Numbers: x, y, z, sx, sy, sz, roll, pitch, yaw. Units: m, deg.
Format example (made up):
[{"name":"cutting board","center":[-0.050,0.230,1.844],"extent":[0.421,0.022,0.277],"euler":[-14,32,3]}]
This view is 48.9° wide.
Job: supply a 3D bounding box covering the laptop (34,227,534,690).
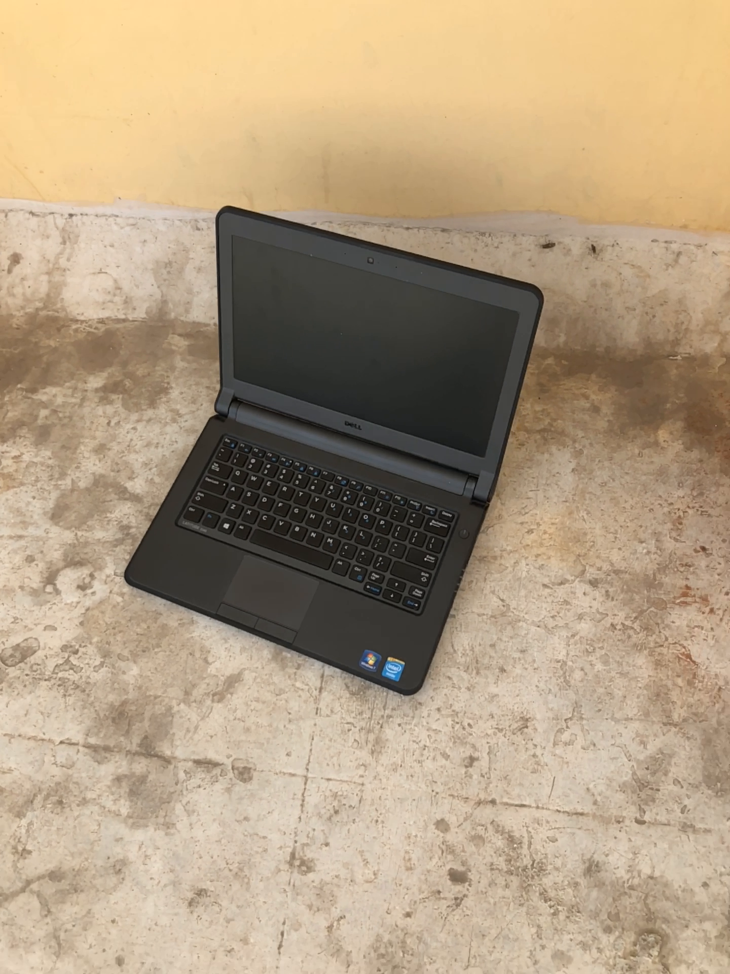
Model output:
[{"name":"laptop","center":[-0.050,-0.031,0.745],"extent":[0.309,0.208,0.299],"euler":[18,63,15]}]
